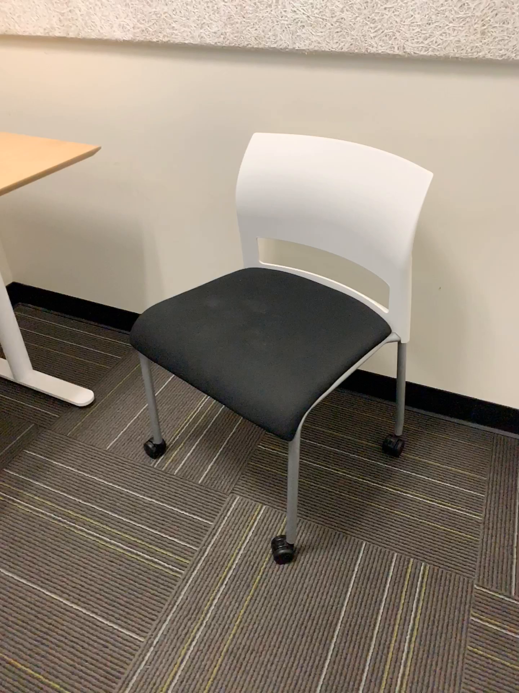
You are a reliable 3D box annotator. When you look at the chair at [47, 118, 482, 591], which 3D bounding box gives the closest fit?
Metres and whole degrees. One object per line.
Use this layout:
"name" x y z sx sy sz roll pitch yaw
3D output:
"chair" 0.029 -0.037 1.288 0.622 0.775 0.622 24 43 30
